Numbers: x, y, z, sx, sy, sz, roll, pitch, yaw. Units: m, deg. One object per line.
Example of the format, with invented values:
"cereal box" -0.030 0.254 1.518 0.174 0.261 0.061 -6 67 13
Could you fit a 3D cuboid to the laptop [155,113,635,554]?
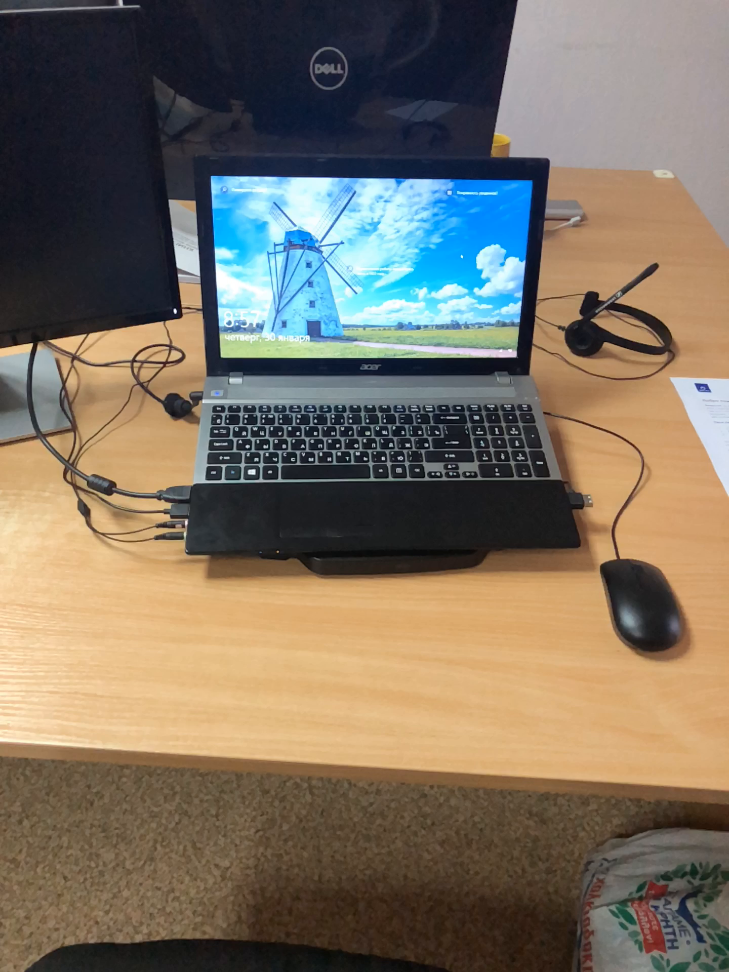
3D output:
"laptop" 0.013 -0.163 0.796 0.373 0.211 0.361 -1 48 -5
